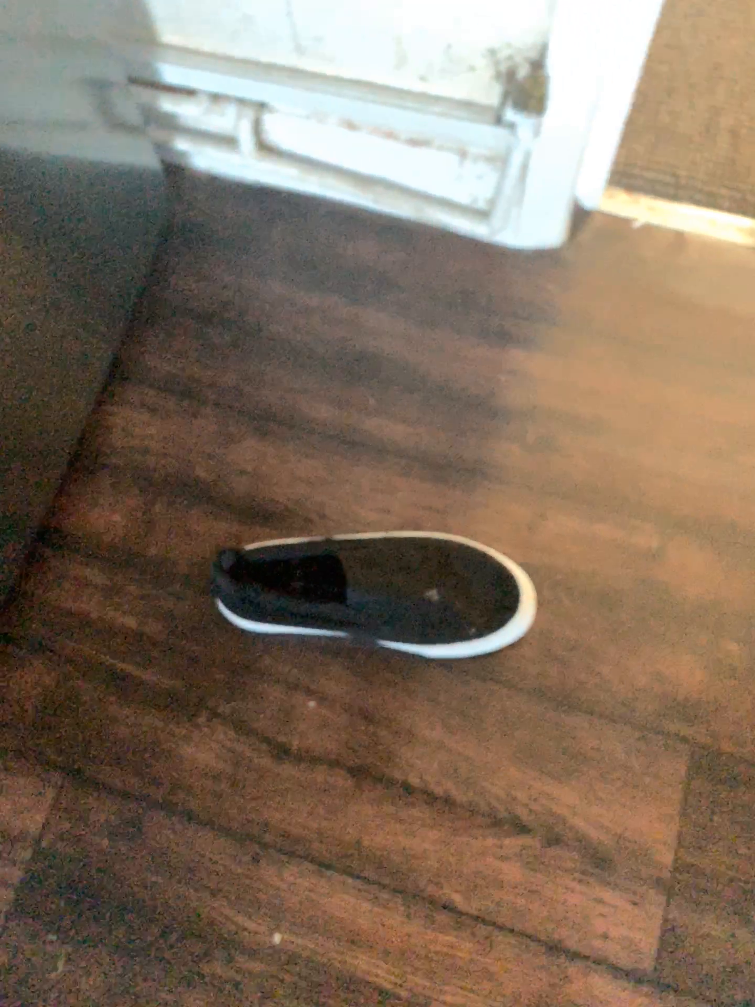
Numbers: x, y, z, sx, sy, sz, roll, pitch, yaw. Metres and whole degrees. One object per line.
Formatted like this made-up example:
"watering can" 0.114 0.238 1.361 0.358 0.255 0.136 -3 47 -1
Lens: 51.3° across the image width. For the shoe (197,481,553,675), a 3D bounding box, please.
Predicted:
"shoe" 0.002 0.057 0.586 0.238 0.080 0.100 6 70 5
